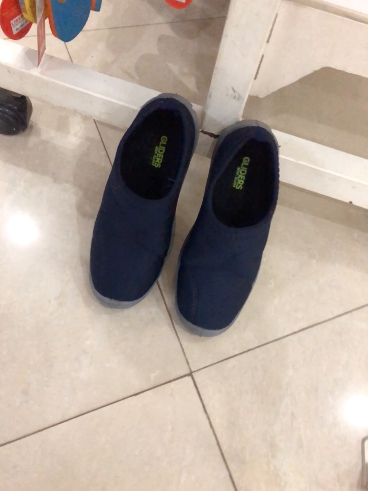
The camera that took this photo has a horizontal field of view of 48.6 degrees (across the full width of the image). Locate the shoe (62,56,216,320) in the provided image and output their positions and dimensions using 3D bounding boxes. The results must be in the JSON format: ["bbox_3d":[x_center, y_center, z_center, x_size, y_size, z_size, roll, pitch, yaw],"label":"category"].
[{"bbox_3d":[-0.085,-0.104,0.844,0.160,0.200,0.460,16,86,-2],"label":"shoe"}]

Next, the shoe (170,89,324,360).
[{"bbox_3d":[0.123,-0.039,0.877,0.186,0.208,0.489,14,85,1],"label":"shoe"}]
